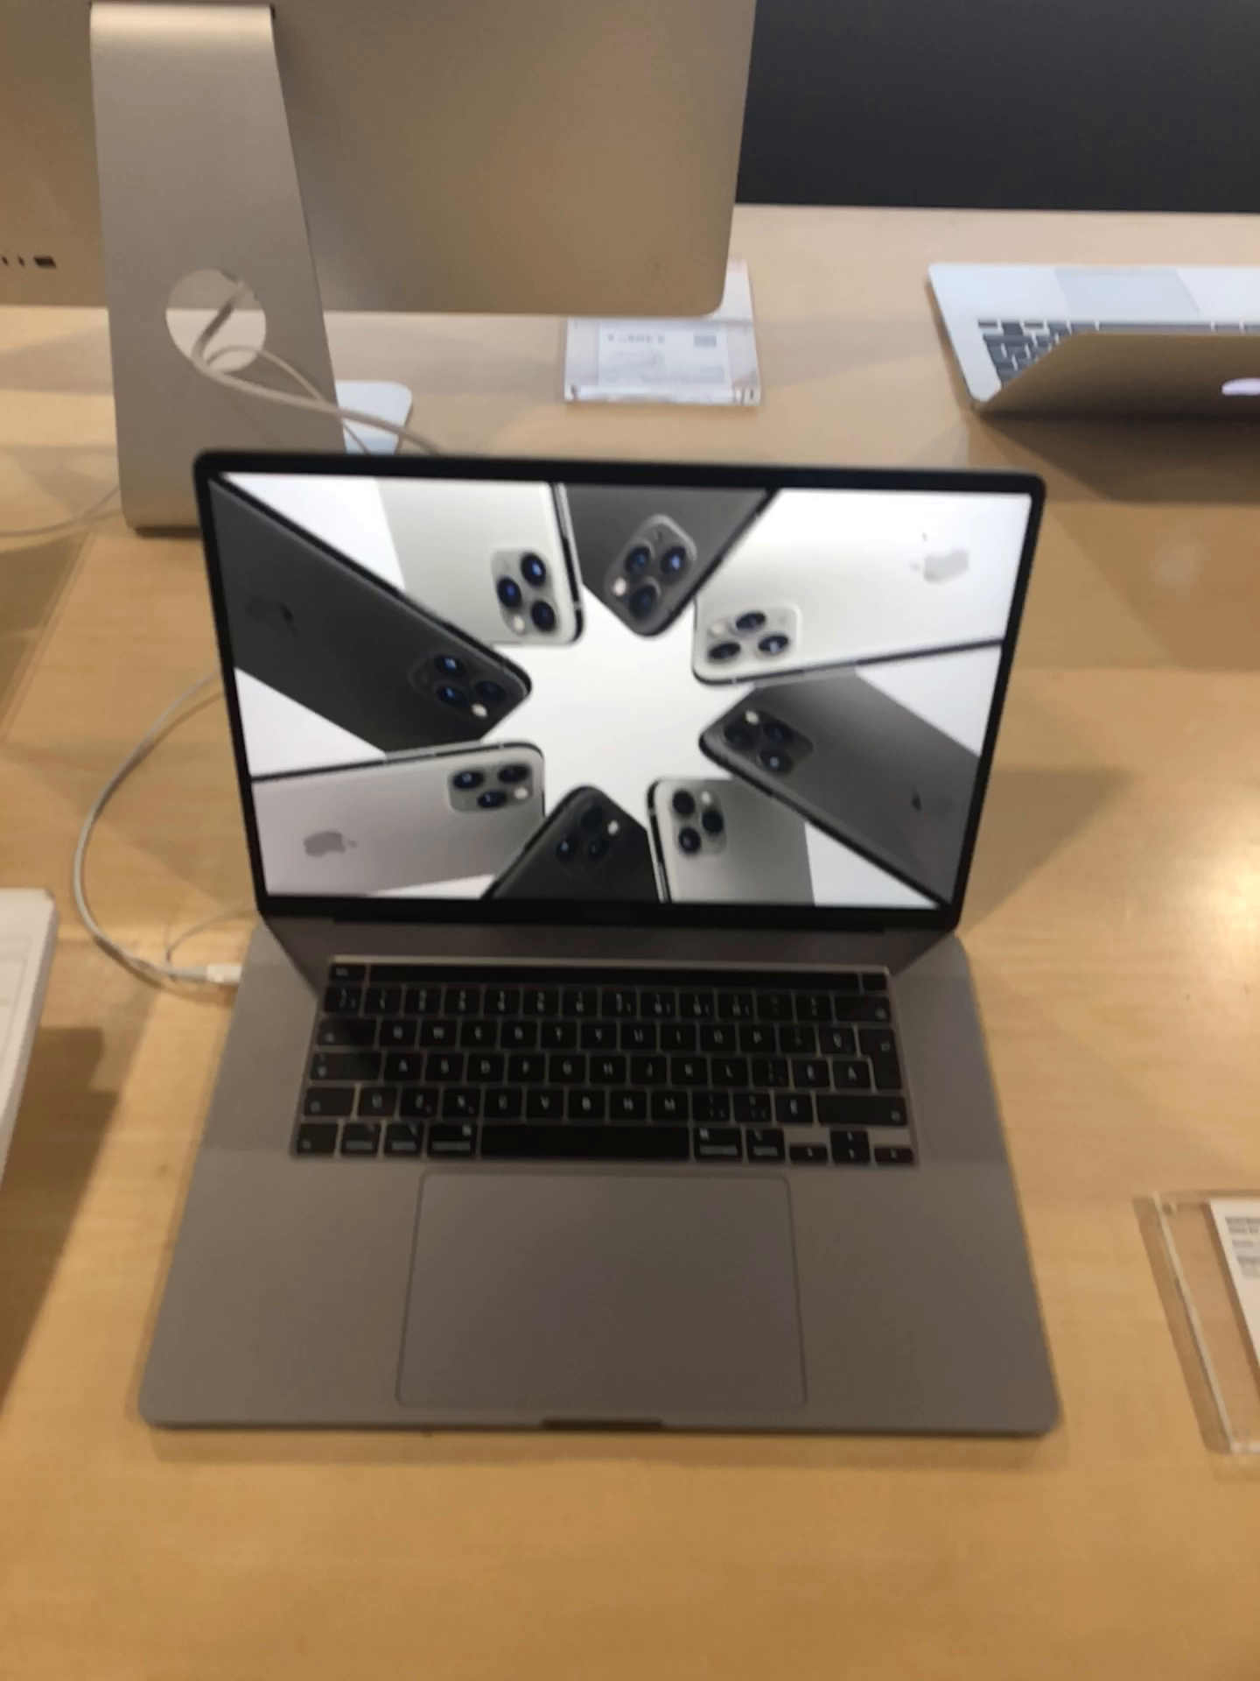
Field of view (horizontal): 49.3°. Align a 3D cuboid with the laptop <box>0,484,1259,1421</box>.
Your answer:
[{"bbox_3d":[-0.005,0.038,0.543,0.343,0.227,0.293,1,47,-1],"label":"laptop"}]
